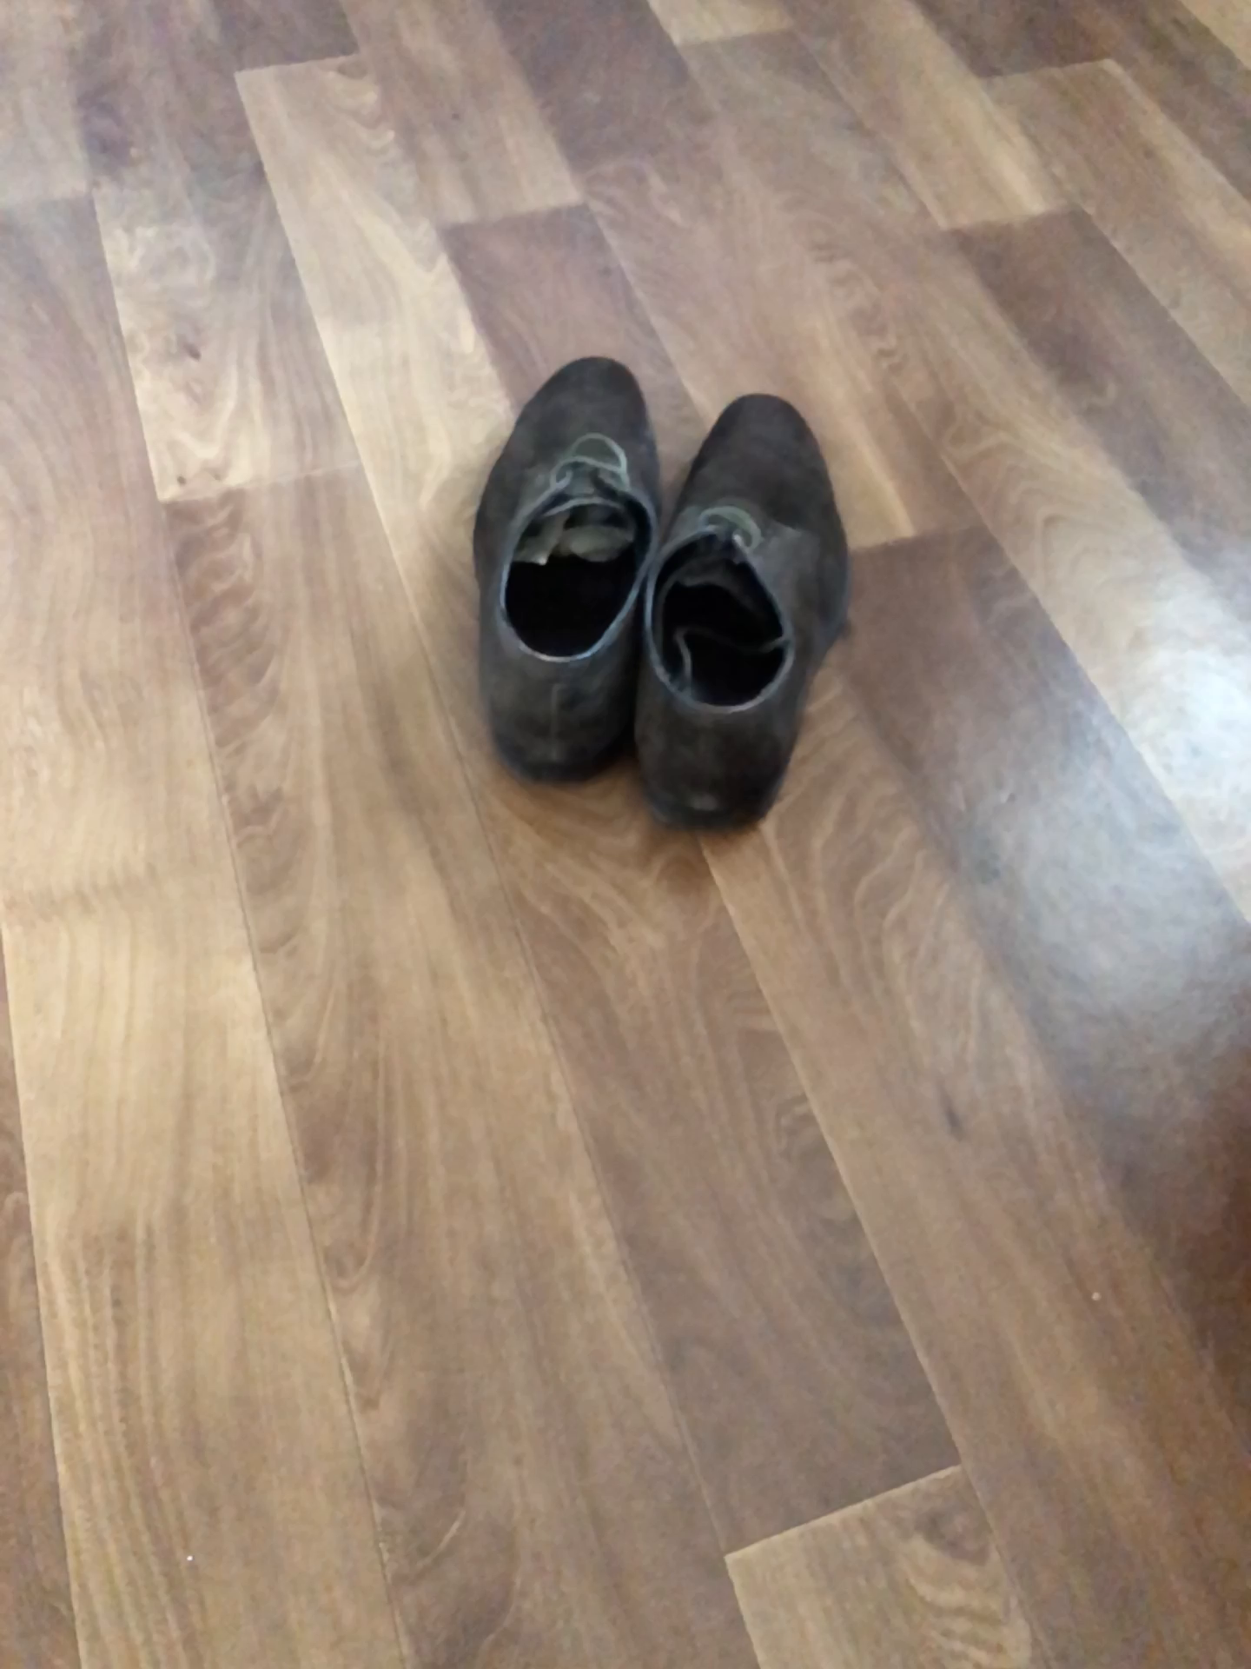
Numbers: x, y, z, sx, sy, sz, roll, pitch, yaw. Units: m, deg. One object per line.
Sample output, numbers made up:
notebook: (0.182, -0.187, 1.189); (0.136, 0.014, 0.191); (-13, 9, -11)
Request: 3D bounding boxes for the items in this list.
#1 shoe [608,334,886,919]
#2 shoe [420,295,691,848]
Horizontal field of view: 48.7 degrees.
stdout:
shoe: (0.069, -0.121, 0.735); (0.120, 0.099, 0.312); (6, 56, 2)
shoe: (-0.029, -0.153, 0.756); (0.120, 0.099, 0.312); (3, 56, 0)
